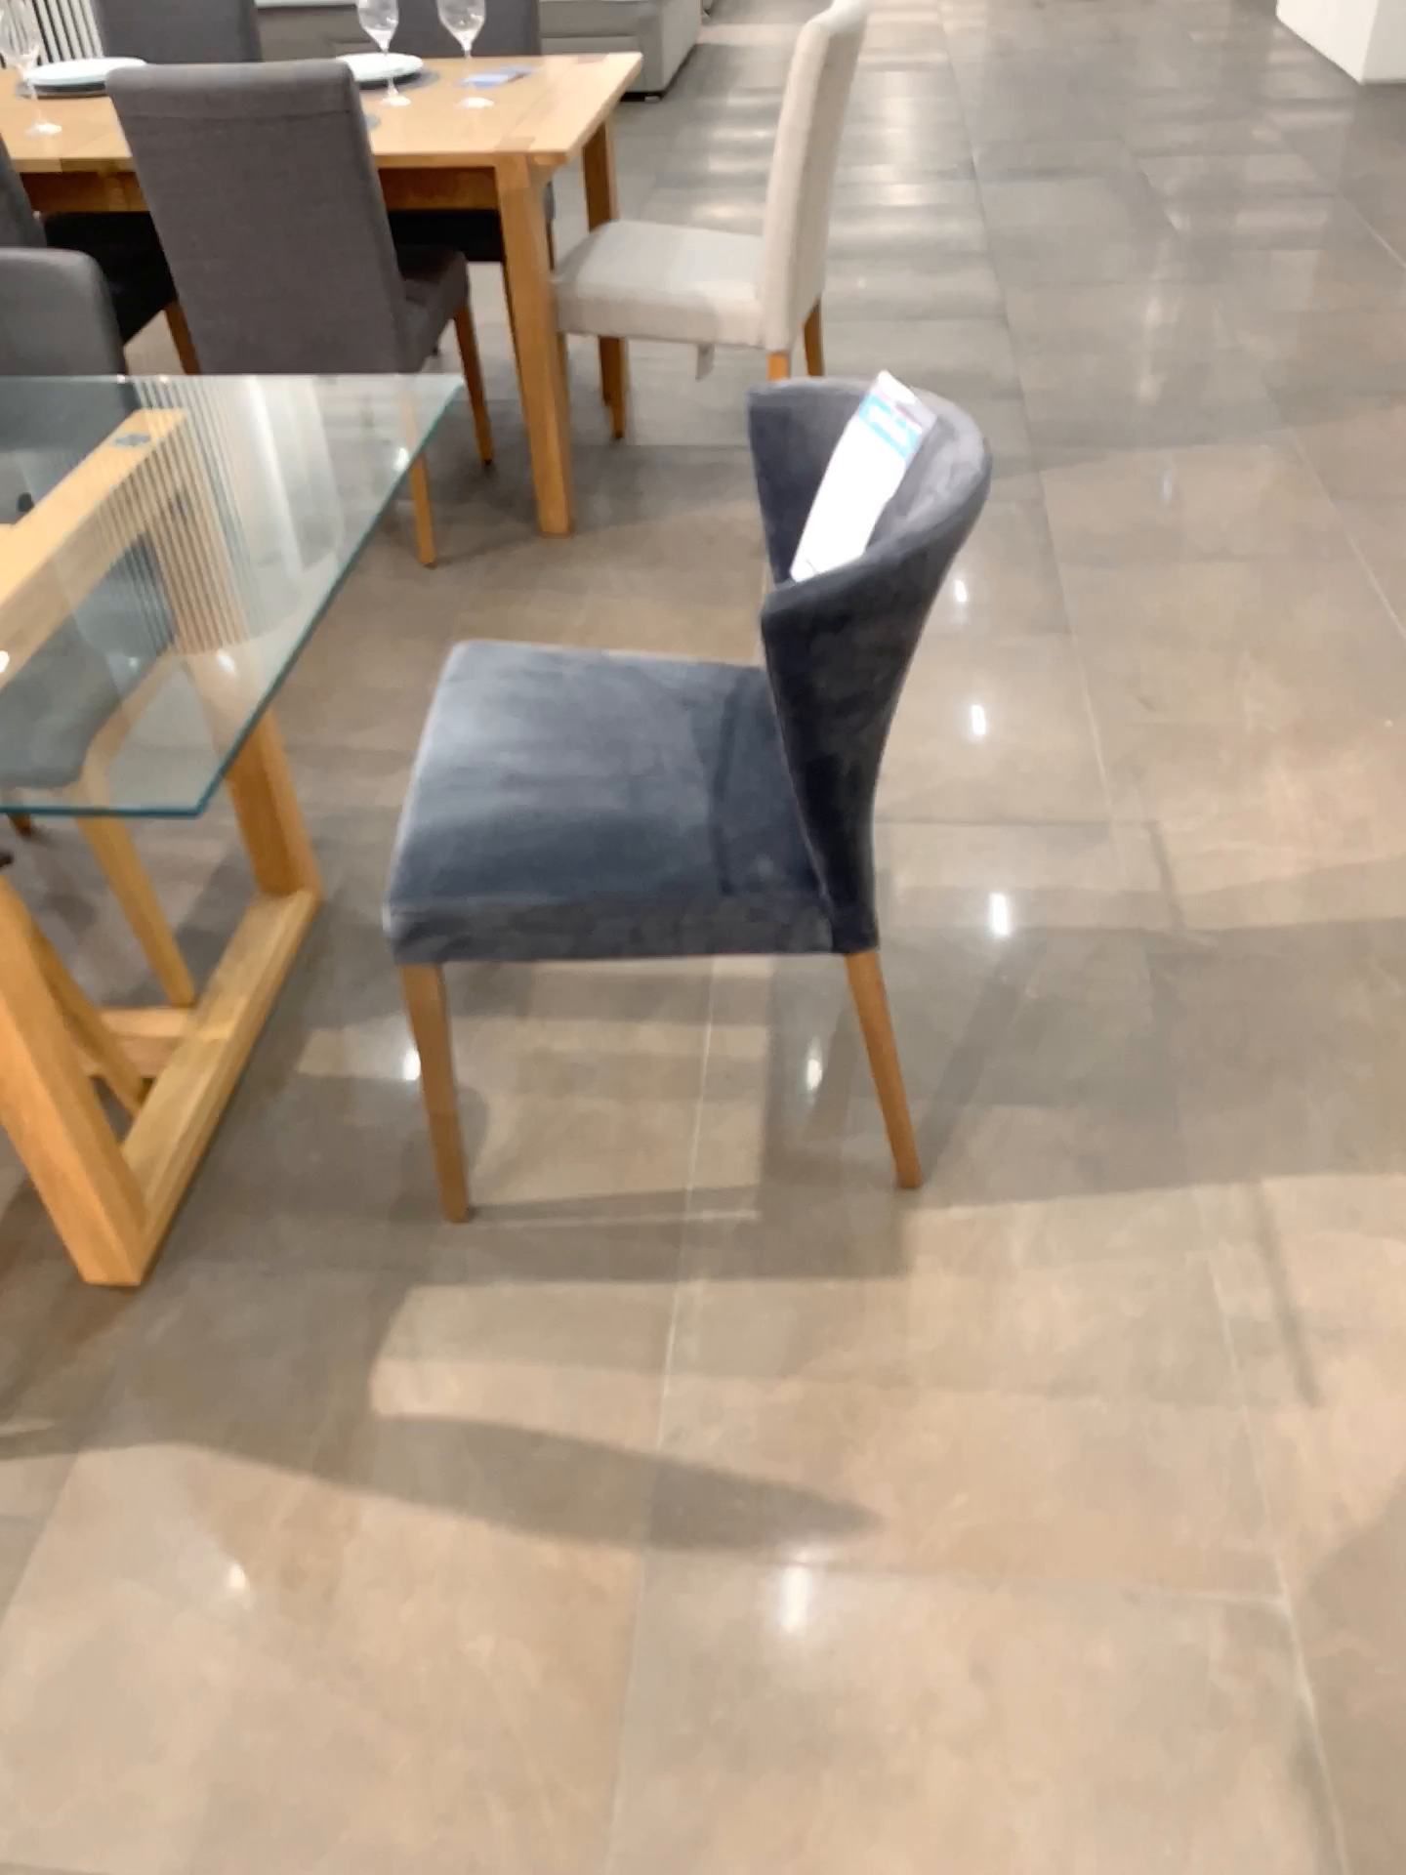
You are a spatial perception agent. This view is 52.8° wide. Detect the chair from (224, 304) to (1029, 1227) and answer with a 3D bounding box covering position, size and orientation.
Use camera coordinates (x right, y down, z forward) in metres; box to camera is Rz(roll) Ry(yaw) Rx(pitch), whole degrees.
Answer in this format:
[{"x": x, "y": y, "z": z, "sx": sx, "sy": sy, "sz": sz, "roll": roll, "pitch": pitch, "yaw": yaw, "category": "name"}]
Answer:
[{"x": -0.035, "y": -0.172, "z": 1.555, "sx": 0.613, "sy": 0.805, "sz": 0.583, "roll": 0, "pitch": 40, "yaw": 3, "category": "chair"}]
